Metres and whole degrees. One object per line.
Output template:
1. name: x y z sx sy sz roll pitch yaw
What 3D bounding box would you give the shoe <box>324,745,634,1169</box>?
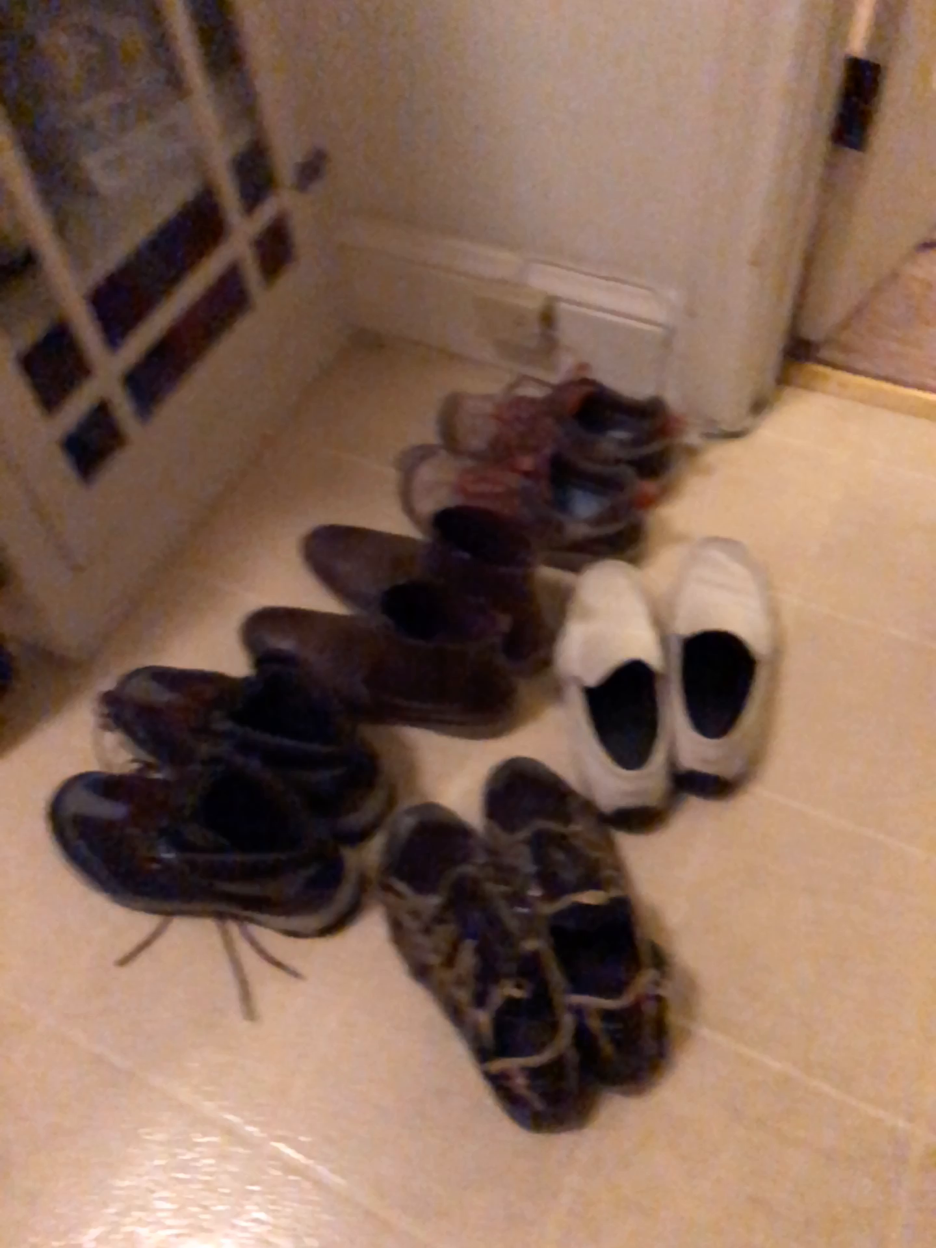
1. shoe: 0.003 0.265 0.854 0.110 0.123 0.294 -26 56 -14

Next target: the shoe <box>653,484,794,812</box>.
1. shoe: 0.254 0.016 1.024 0.110 0.113 0.304 6 54 10

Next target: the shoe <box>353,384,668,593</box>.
1. shoe: 0.047 -0.152 1.138 0.313 0.113 0.110 17 57 17

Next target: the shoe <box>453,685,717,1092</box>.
1. shoe: 0.089 0.217 0.886 0.110 0.123 0.294 -17 54 -7

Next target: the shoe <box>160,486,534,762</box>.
1. shoe: -0.108 0.001 1.025 0.323 0.192 0.111 14 56 15

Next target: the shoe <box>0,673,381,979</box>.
1. shoe: -0.258 0.176 0.897 0.323 0.192 0.111 13 56 14

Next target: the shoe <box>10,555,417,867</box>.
1. shoe: -0.227 0.082 0.972 0.323 0.192 0.110 18 57 17

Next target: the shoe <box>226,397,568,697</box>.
1. shoe: -0.067 -0.081 1.079 0.324 0.192 0.110 23 59 20

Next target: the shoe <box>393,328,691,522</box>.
1. shoe: 0.084 -0.233 1.202 0.313 0.113 0.110 17 57 17

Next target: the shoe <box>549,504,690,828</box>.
1. shoe: 0.139 0.034 1.018 0.110 0.113 0.304 -2 53 4
